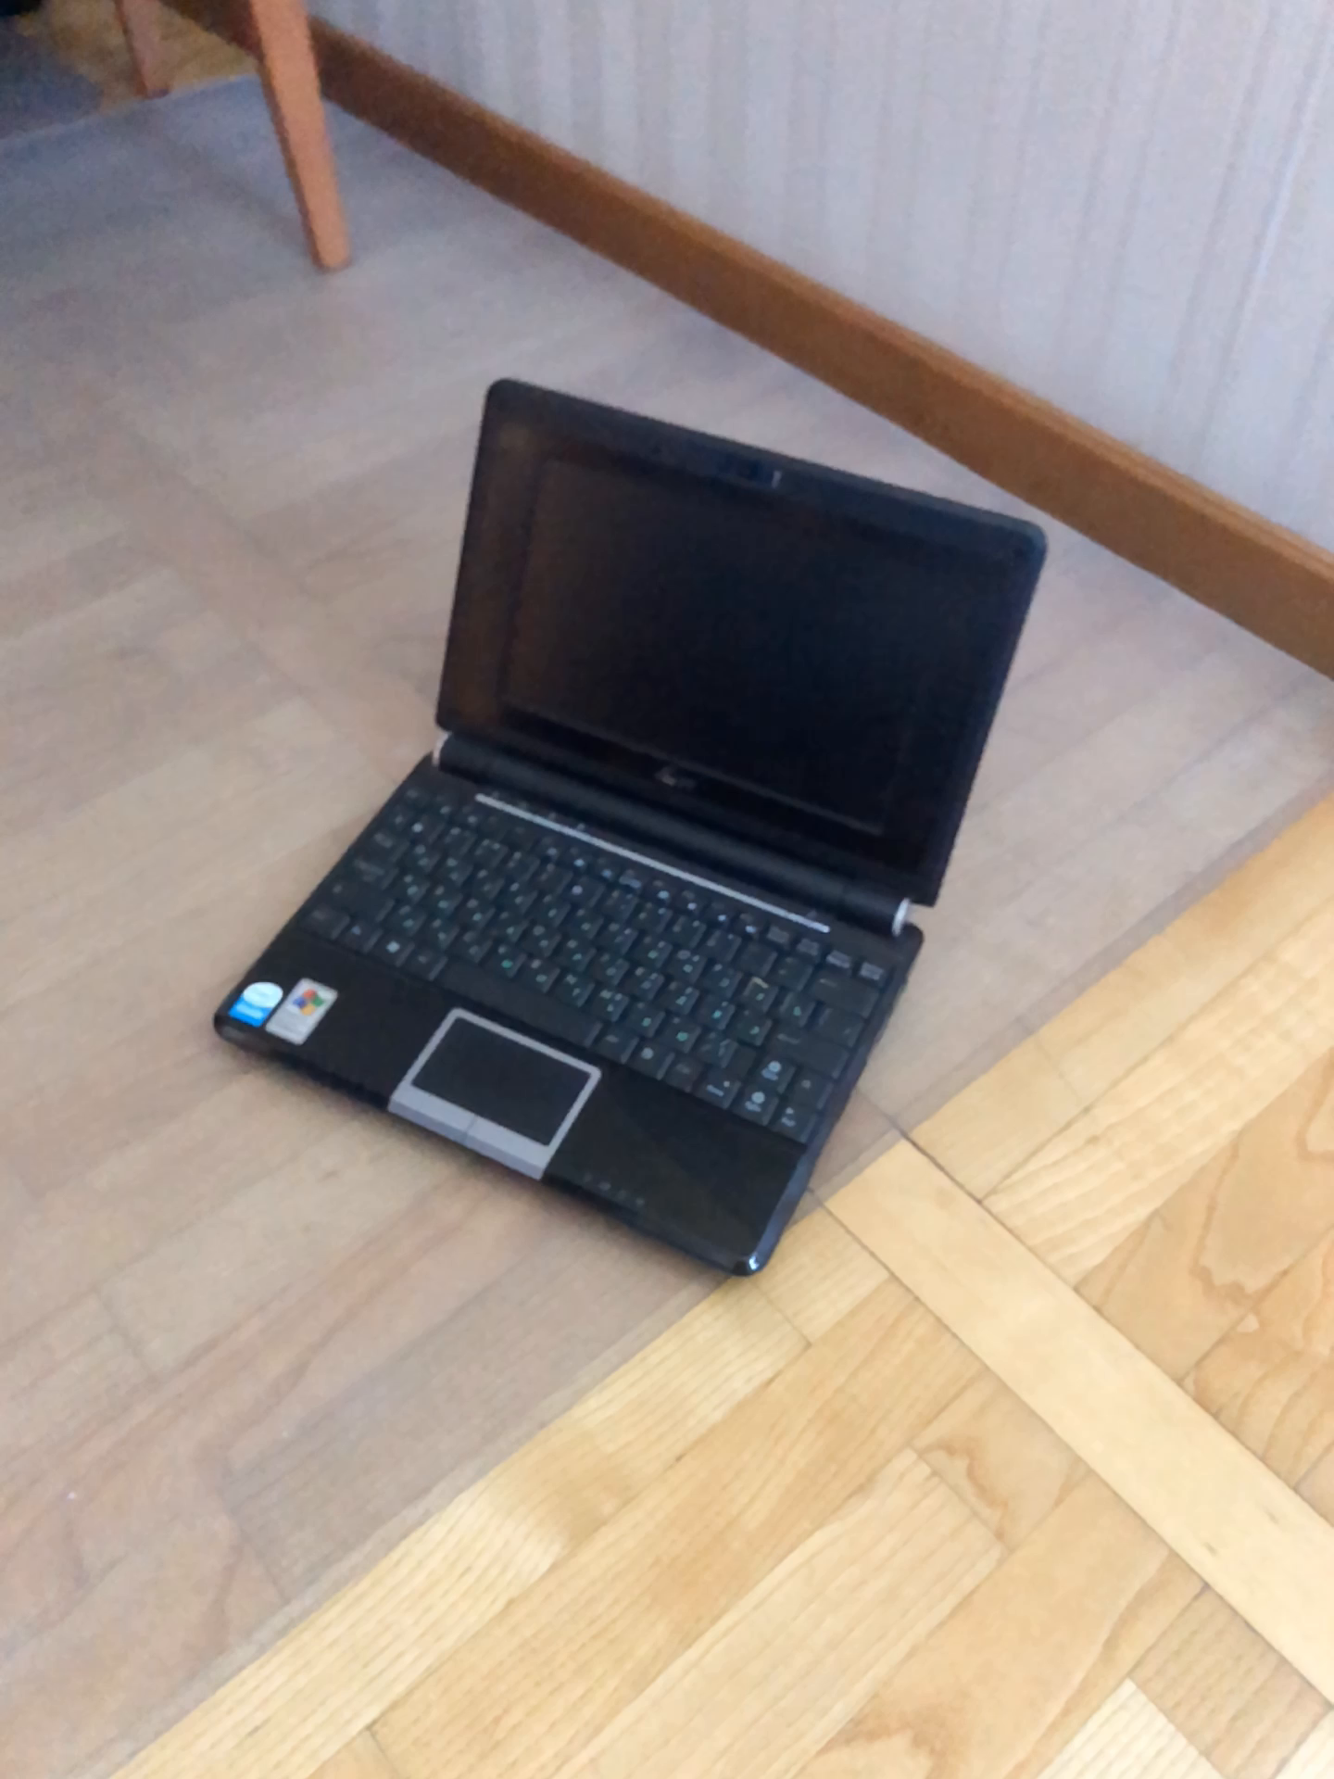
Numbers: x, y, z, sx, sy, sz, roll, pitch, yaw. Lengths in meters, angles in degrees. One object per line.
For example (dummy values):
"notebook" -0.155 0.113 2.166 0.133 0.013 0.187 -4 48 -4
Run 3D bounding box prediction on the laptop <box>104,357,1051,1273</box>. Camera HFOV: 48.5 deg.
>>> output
"laptop" -0.022 -0.049 0.626 0.264 0.159 0.278 21 54 17
